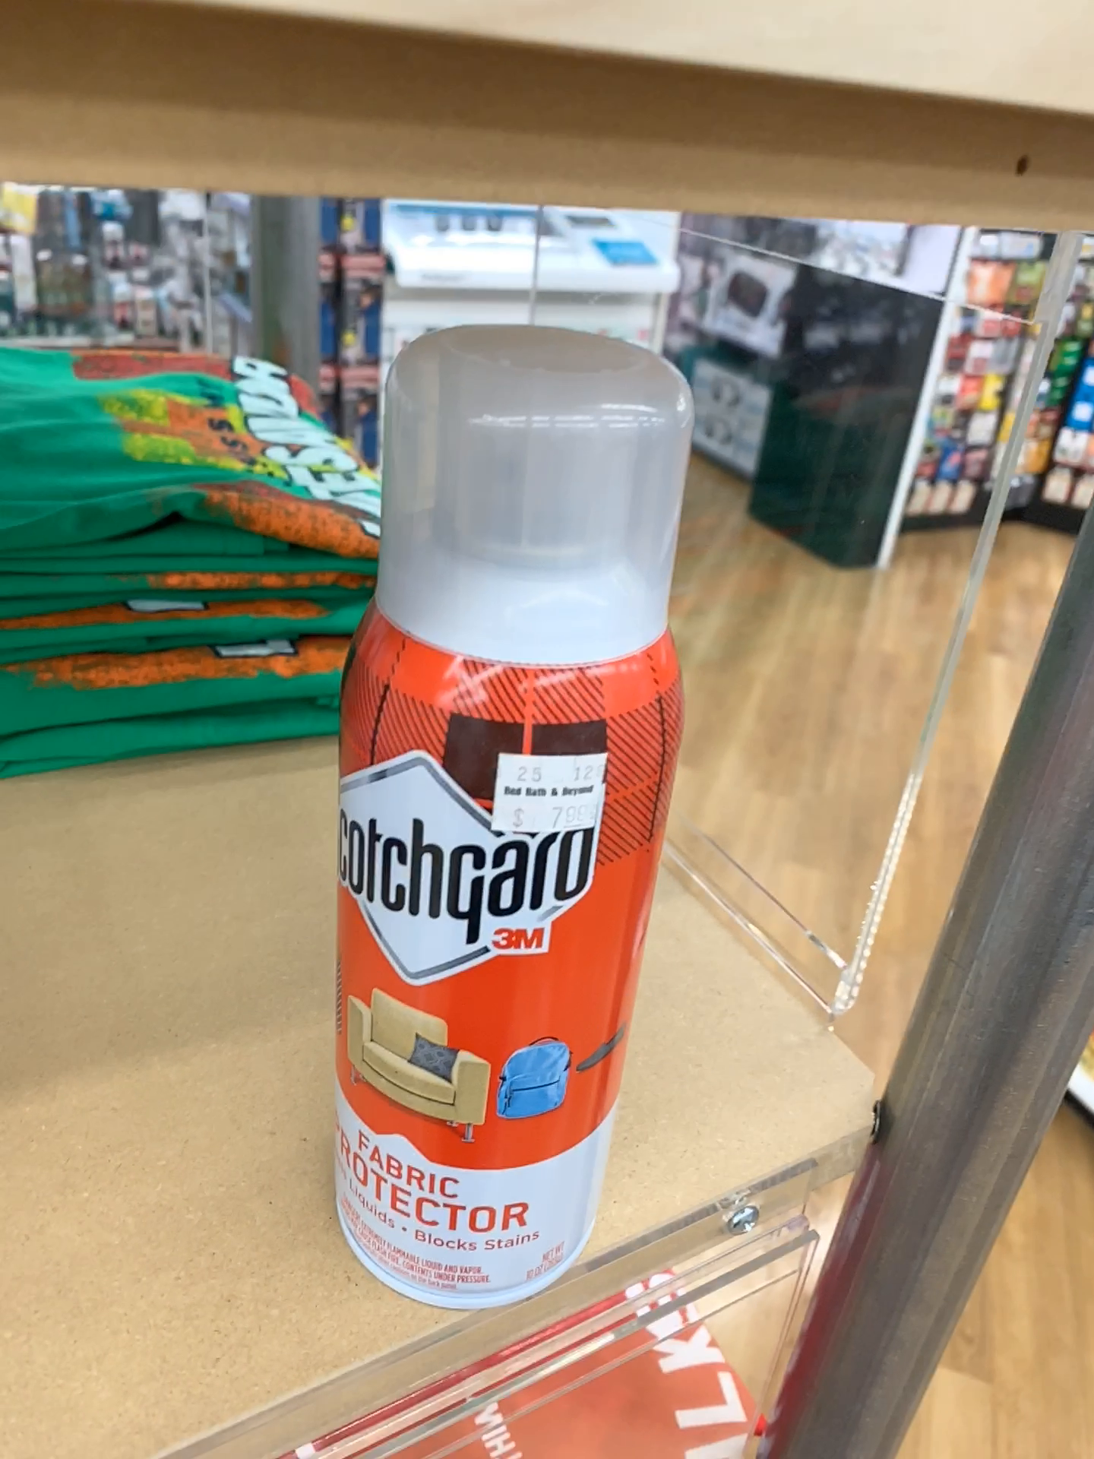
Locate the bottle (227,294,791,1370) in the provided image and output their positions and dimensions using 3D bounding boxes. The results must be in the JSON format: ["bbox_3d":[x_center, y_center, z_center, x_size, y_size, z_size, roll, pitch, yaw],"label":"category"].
[{"bbox_3d":[-0.013,0.027,0.236,0.069,0.205,0.067,5,30,-3],"label":"bottle"}]
